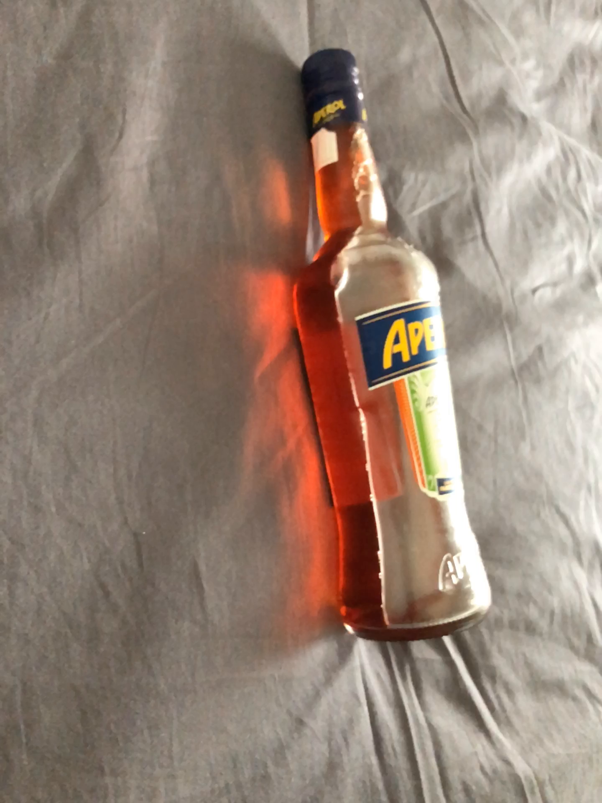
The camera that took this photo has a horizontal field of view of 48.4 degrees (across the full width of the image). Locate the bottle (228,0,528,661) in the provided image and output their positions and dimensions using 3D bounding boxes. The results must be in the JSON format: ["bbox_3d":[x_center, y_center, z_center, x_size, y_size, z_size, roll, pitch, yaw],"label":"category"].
[{"bbox_3d":[0.041,-0.044,0.359,0.101,0.070,0.320,-3,84,-45],"label":"bottle"}]
